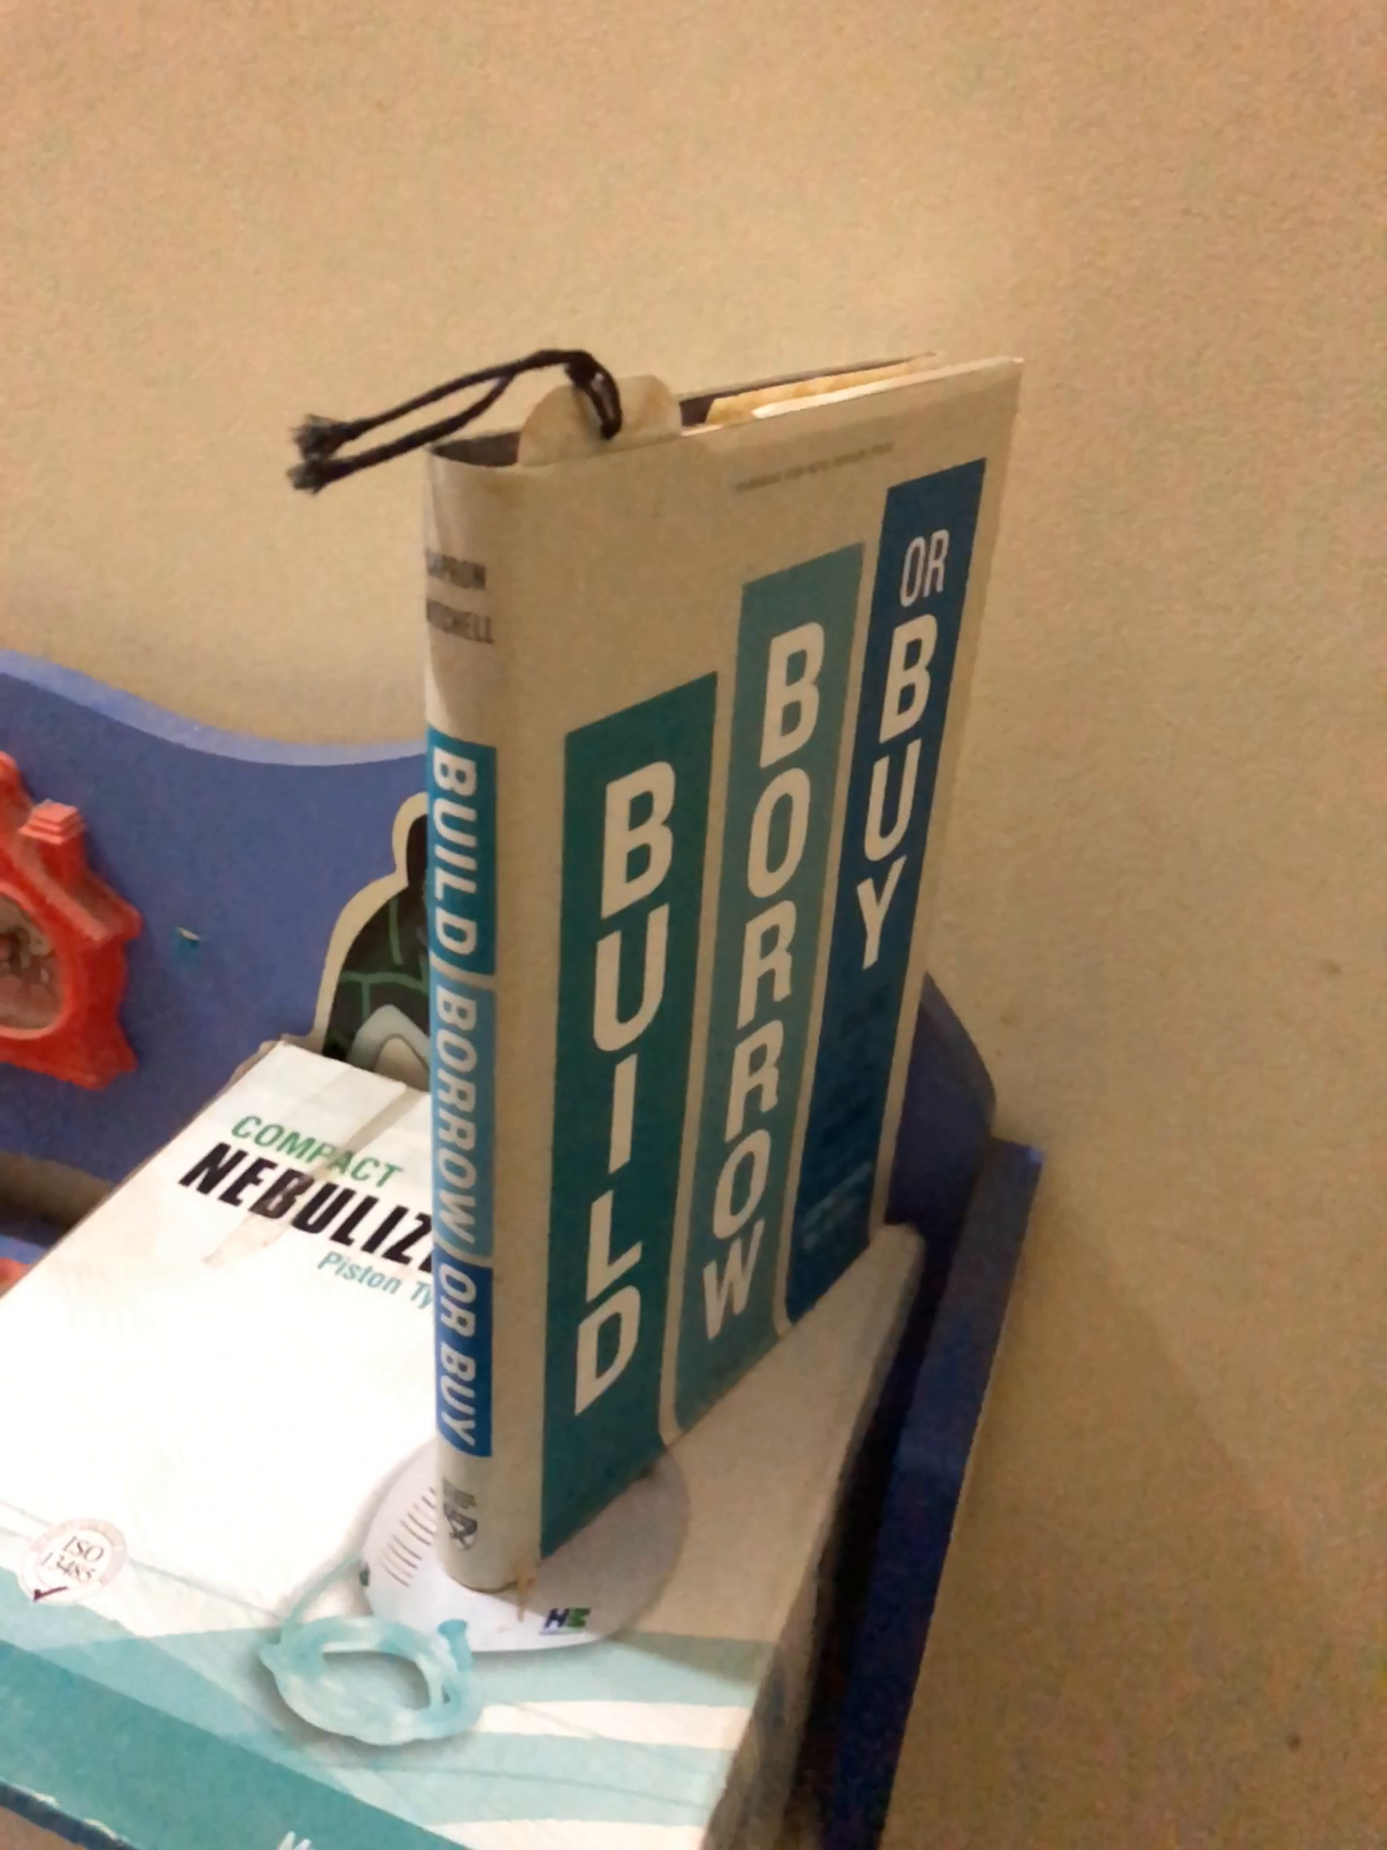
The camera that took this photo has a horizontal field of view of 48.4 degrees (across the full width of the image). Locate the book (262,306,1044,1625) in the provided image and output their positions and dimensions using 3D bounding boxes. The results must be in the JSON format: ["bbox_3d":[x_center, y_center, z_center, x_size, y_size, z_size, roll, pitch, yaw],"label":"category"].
[{"bbox_3d":[0.001,0.002,0.339,0.040,0.239,0.181,22,34,30],"label":"book"}]
